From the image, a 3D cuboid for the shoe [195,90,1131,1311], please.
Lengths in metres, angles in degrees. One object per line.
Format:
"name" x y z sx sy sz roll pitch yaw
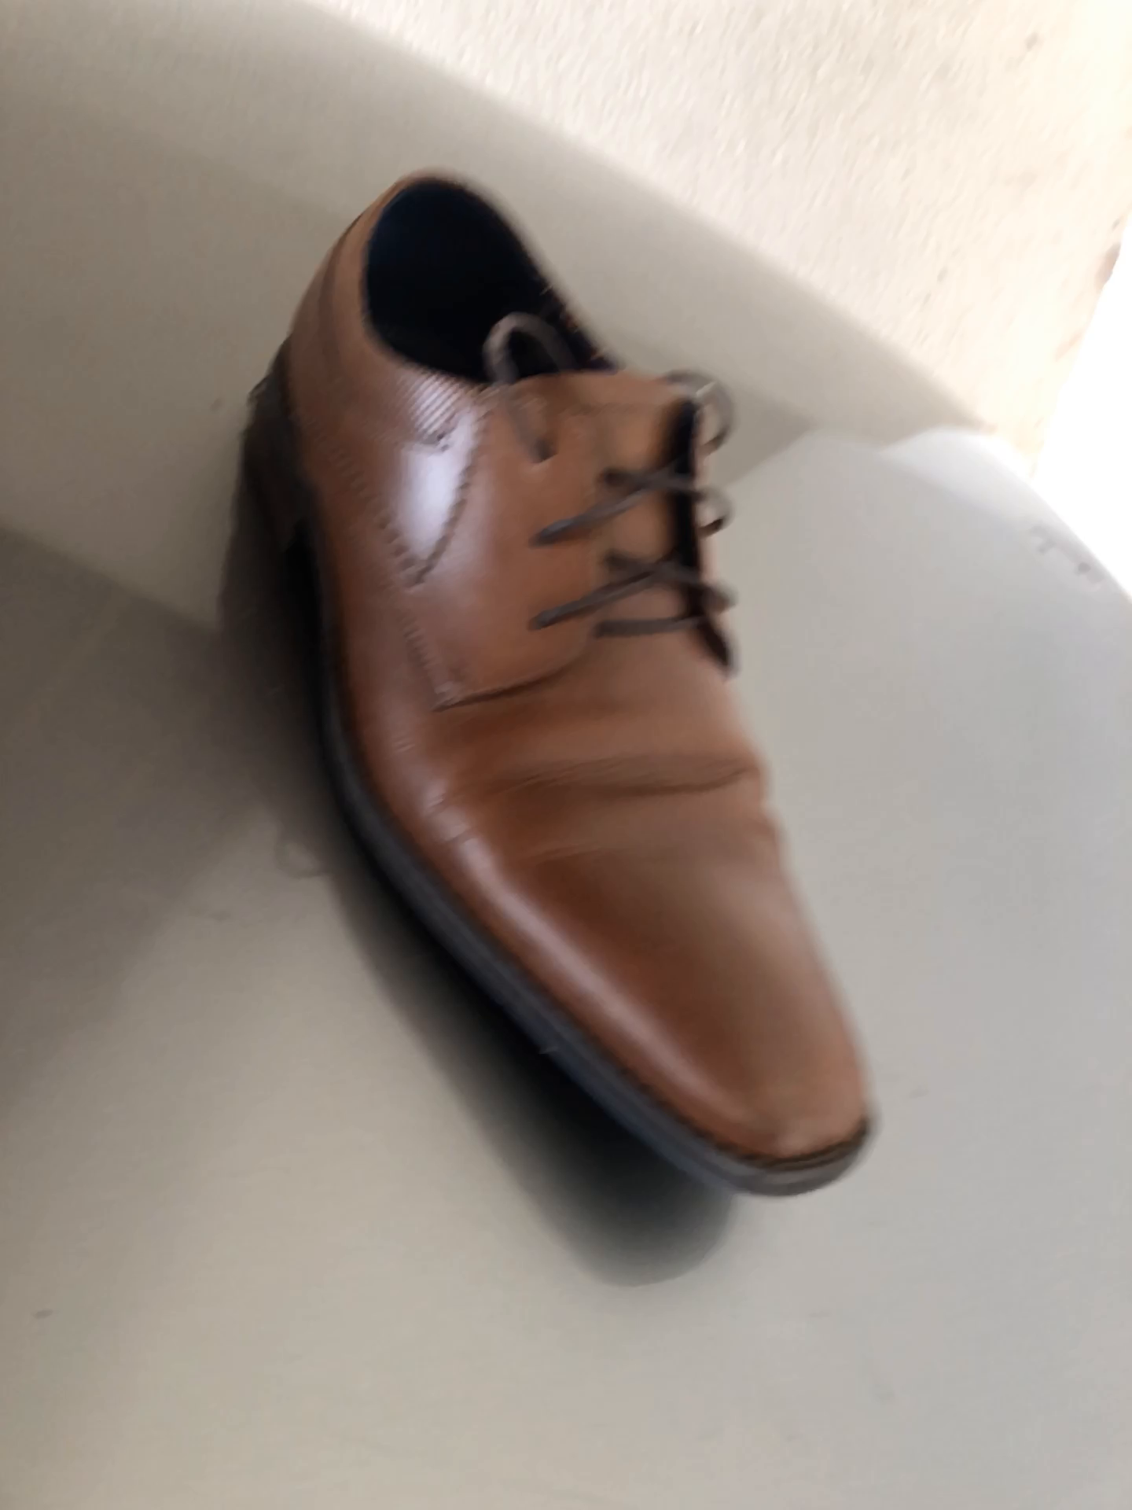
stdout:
"shoe" -0.003 -0.054 0.338 0.130 0.089 0.341 -6 50 -25
